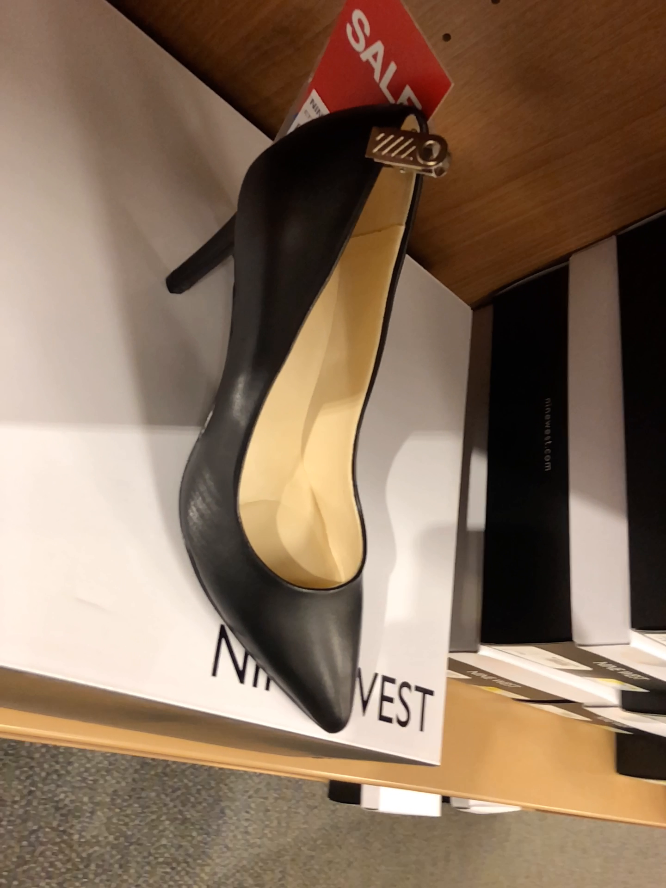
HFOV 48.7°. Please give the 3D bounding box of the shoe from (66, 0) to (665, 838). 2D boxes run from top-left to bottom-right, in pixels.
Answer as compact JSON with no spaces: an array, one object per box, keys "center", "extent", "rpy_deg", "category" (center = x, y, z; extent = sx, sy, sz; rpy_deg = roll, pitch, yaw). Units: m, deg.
[{"center":[0.003,-0.001,0.303],"extent":[0.097,0.159,0.255],"rpy_deg":[-14,87,-46],"category":"shoe"}]
